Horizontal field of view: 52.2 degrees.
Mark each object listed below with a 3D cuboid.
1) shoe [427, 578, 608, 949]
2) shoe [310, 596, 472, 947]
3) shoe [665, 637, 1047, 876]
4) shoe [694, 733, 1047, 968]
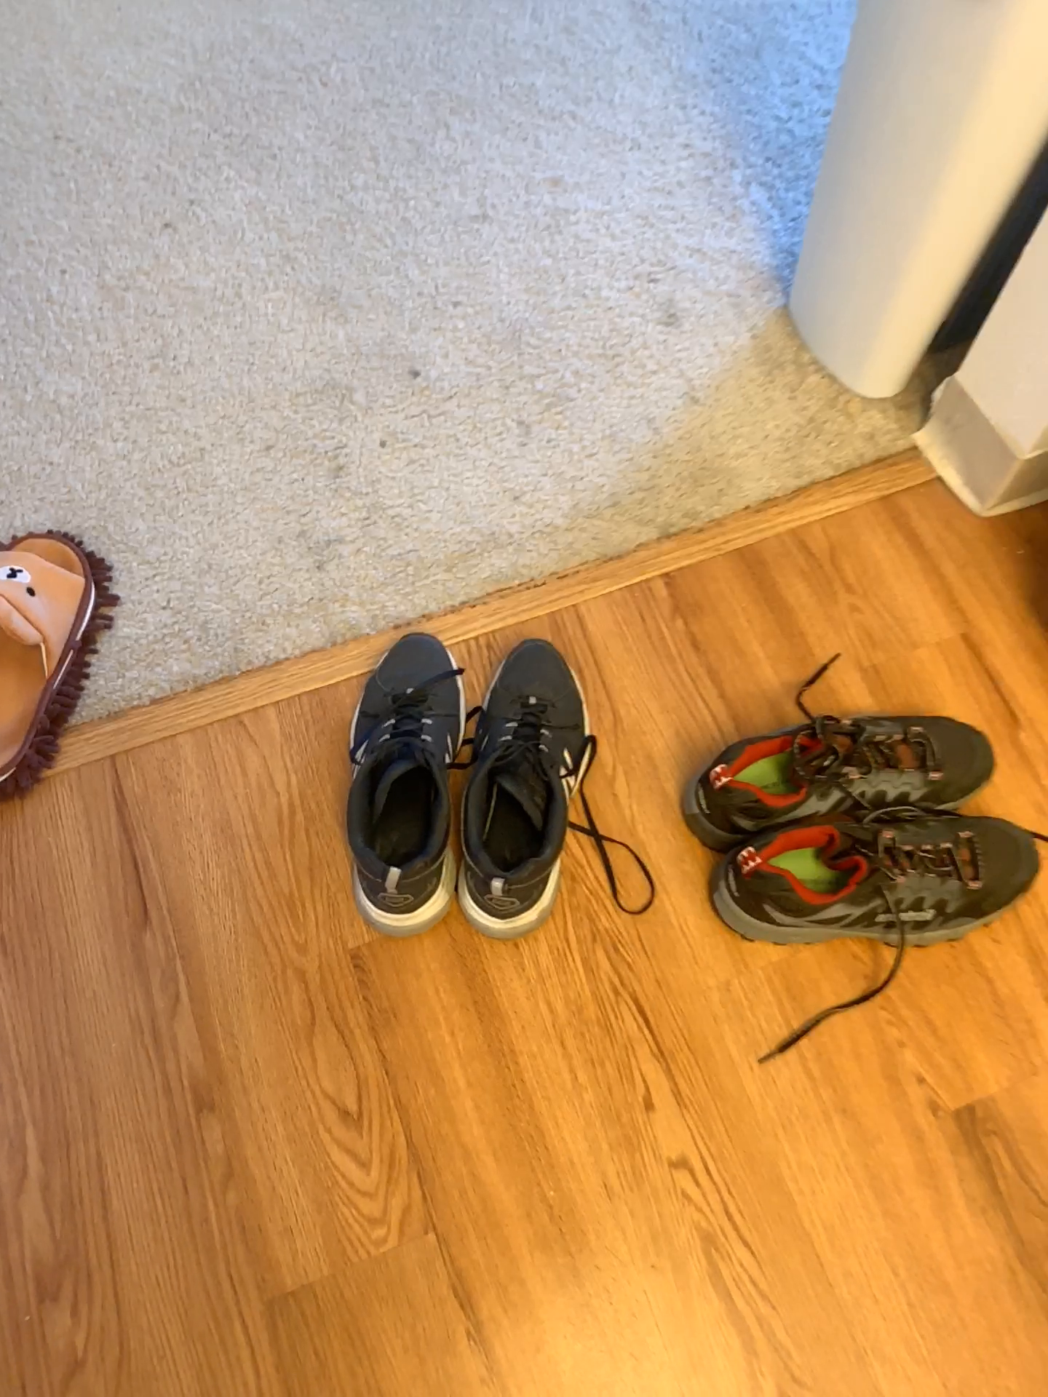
[{"bbox_3d":[-0.002,0.058,0.979,0.120,0.130,0.301,7,65,2],"label":"shoe"},{"bbox_3d":[-0.117,0.068,1.018,0.130,0.120,0.311,0,65,-1],"label":"shoe"},{"bbox_3d":[0.305,0.059,1.011,0.300,0.170,0.120,-10,65,-6],"label":"shoe"},{"bbox_3d":[0.341,0.145,0.988,0.320,0.180,0.140,-5,65,-4],"label":"shoe"}]
